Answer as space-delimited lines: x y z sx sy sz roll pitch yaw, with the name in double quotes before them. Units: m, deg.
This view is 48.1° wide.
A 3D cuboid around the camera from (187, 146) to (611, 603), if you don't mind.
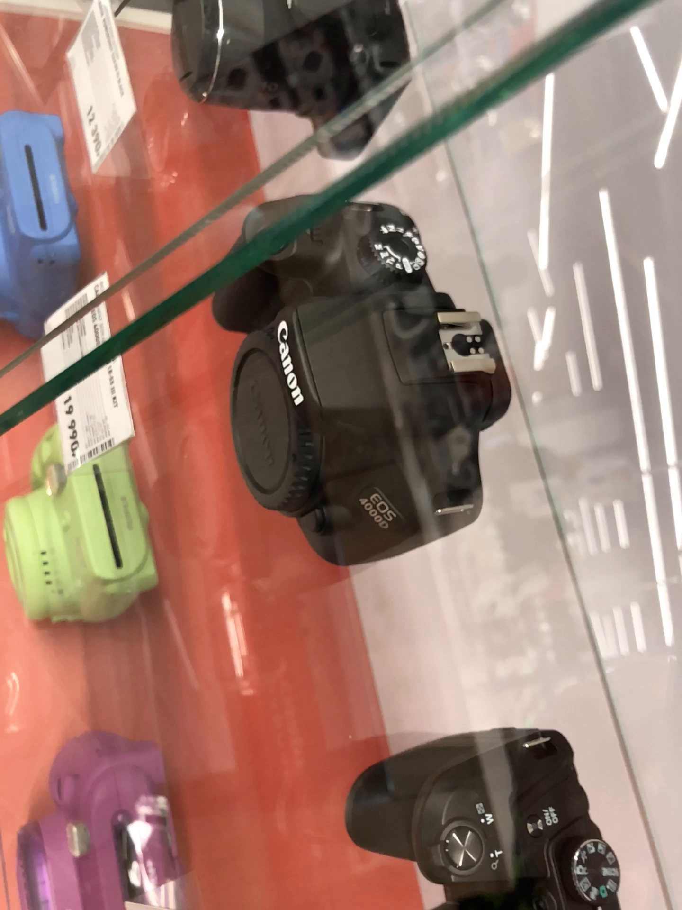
"camera" 0.014 -0.028 0.288 0.100 0.083 0.135 -8 75 -28
